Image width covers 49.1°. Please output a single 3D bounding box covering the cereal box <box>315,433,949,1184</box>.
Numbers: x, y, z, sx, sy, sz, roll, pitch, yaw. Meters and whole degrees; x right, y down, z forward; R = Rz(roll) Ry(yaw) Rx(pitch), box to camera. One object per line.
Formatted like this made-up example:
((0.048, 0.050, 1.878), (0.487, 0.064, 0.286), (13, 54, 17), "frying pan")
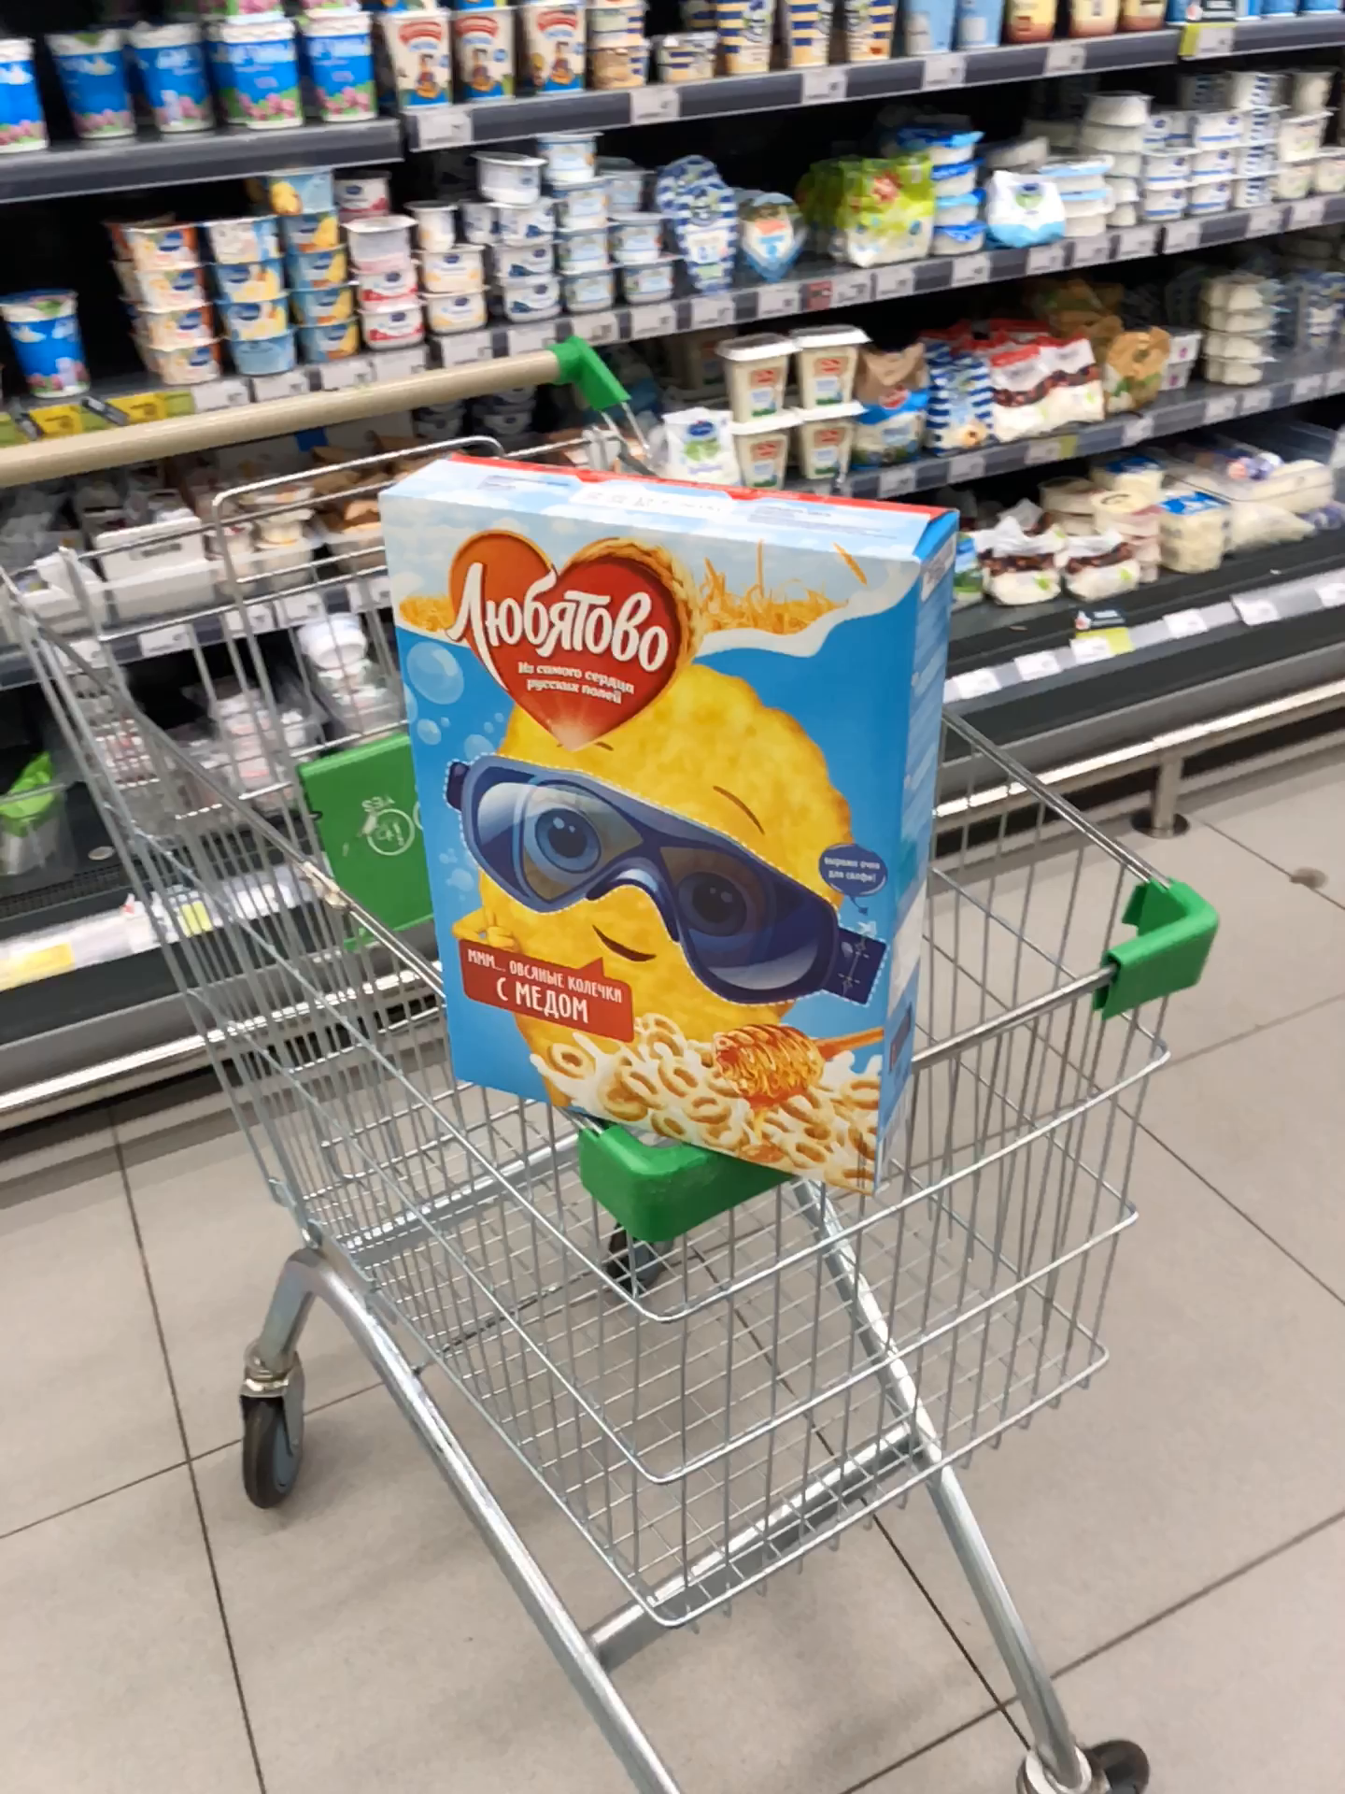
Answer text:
((-0.012, -0.031, 0.547), (0.200, 0.248, 0.060), (11, 35, 20), "cereal box")
